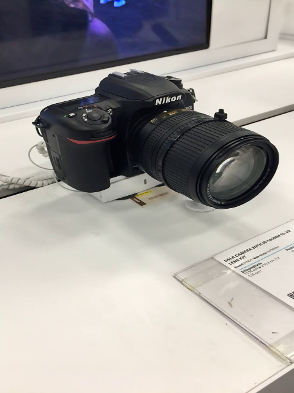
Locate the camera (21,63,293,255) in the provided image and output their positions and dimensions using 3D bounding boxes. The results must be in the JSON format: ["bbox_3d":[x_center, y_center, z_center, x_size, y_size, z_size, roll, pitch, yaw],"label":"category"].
[{"bbox_3d":[0.005,-0.047,0.350,0.146,0.091,0.172,-22,40,-24],"label":"camera"}]
